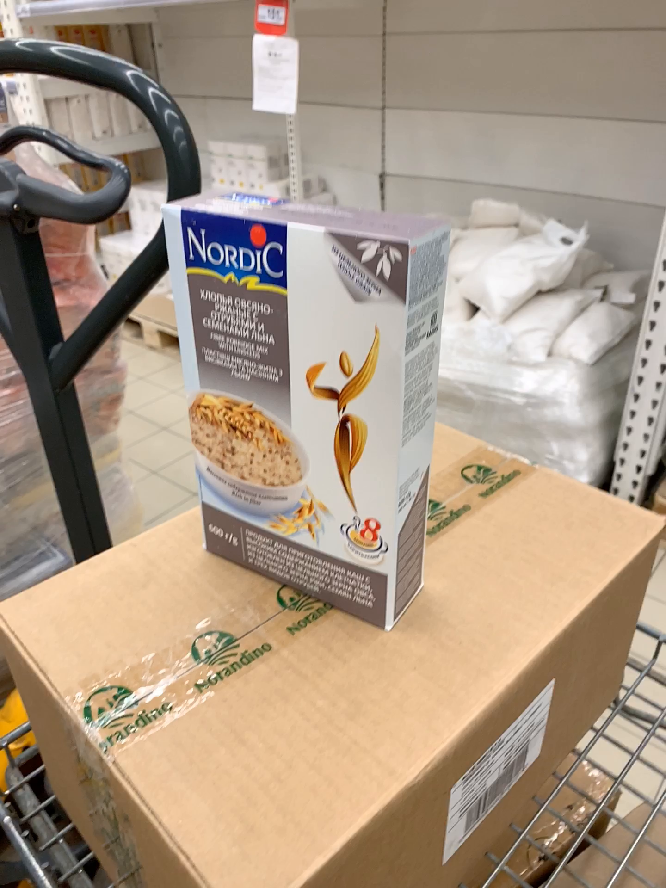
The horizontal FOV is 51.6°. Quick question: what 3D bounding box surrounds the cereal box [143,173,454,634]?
[{"bbox_3d":[-0.018,-0.020,0.399,0.150,0.239,0.050,17,36,28],"label":"cereal box"}]
